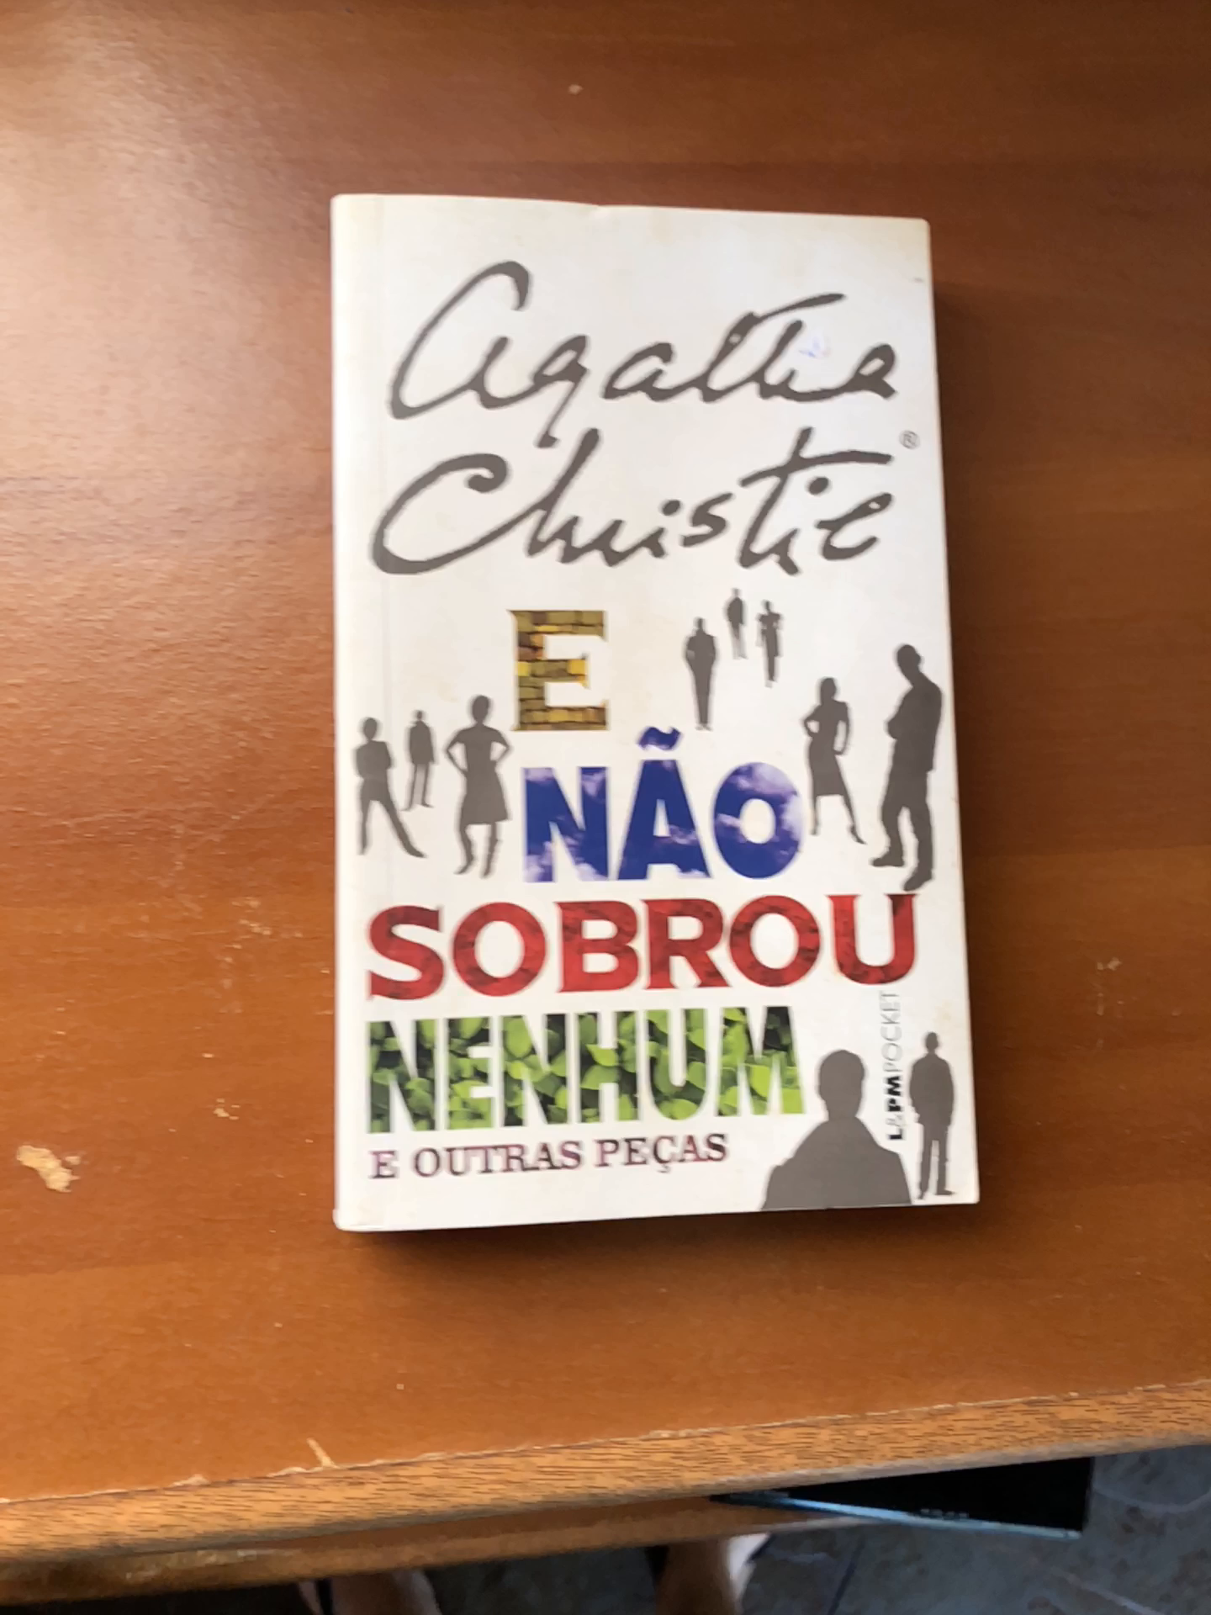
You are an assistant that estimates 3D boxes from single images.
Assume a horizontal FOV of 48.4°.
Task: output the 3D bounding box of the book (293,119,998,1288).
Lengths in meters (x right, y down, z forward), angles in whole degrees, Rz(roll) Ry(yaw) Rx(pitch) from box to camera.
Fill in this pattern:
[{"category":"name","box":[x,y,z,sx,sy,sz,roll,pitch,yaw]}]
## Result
[{"category":"book","box":[0.006,-0.019,0.229,0.110,0.024,0.186,0,85,-5]}]
